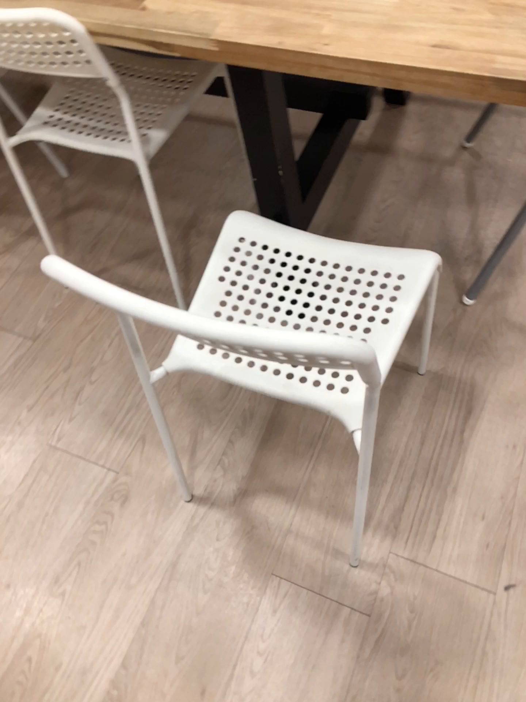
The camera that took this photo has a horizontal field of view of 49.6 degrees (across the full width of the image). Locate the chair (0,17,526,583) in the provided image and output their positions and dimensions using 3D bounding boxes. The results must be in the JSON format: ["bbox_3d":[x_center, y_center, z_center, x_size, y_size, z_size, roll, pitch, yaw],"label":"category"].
[{"bbox_3d":[0.051,-0.015,0.876,0.421,0.697,0.451,18,63,18],"label":"chair"}]
